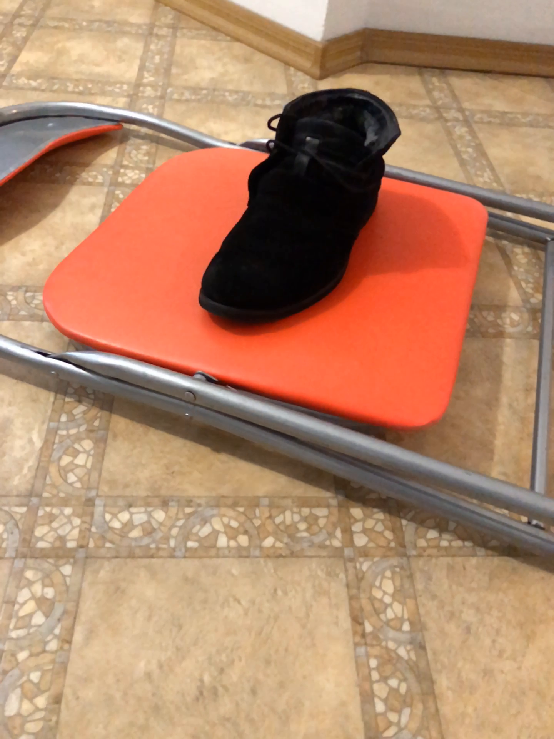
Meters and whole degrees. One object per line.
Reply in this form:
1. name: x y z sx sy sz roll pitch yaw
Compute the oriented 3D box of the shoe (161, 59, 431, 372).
1. shoe: 0.025 -0.149 0.539 0.110 0.129 0.272 25 50 14
